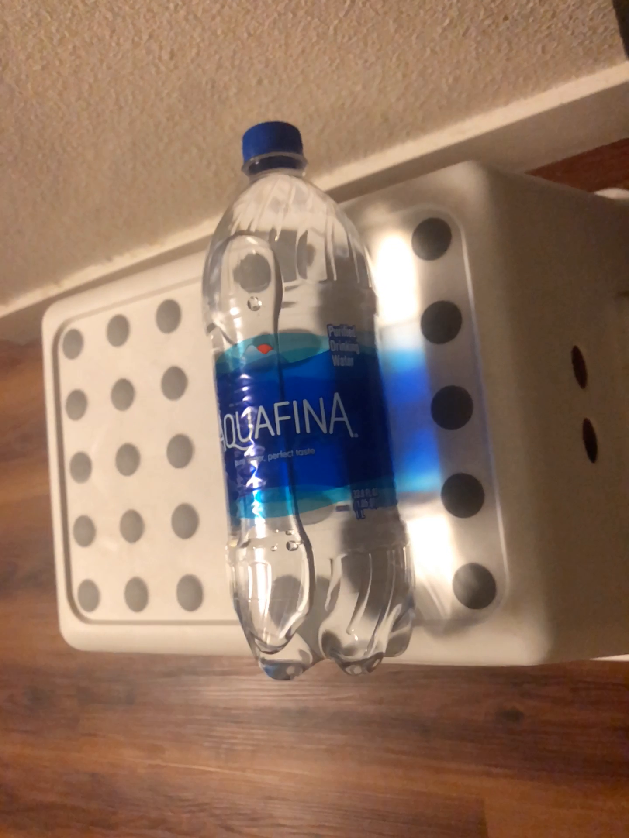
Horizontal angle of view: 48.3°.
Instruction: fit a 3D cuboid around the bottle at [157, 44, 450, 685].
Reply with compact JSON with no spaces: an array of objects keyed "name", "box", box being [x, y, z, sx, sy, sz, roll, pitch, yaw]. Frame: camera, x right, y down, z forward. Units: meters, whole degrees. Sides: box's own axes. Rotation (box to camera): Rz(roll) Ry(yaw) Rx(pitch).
[{"name":"bottle","box":[-0.006,-0.019,0.325,0.090,0.080,0.250,-9,81,31]}]
